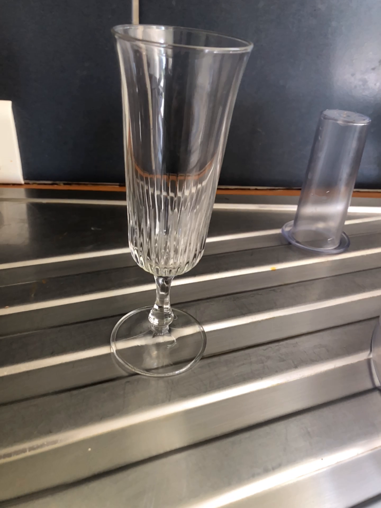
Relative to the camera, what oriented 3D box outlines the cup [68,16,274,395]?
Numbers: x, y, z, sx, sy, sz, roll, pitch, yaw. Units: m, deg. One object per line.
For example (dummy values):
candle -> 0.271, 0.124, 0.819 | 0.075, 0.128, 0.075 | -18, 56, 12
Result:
cup -> -0.011, -0.019, 0.213 | 0.060, 0.169, 0.060 | 4, 33, -2
